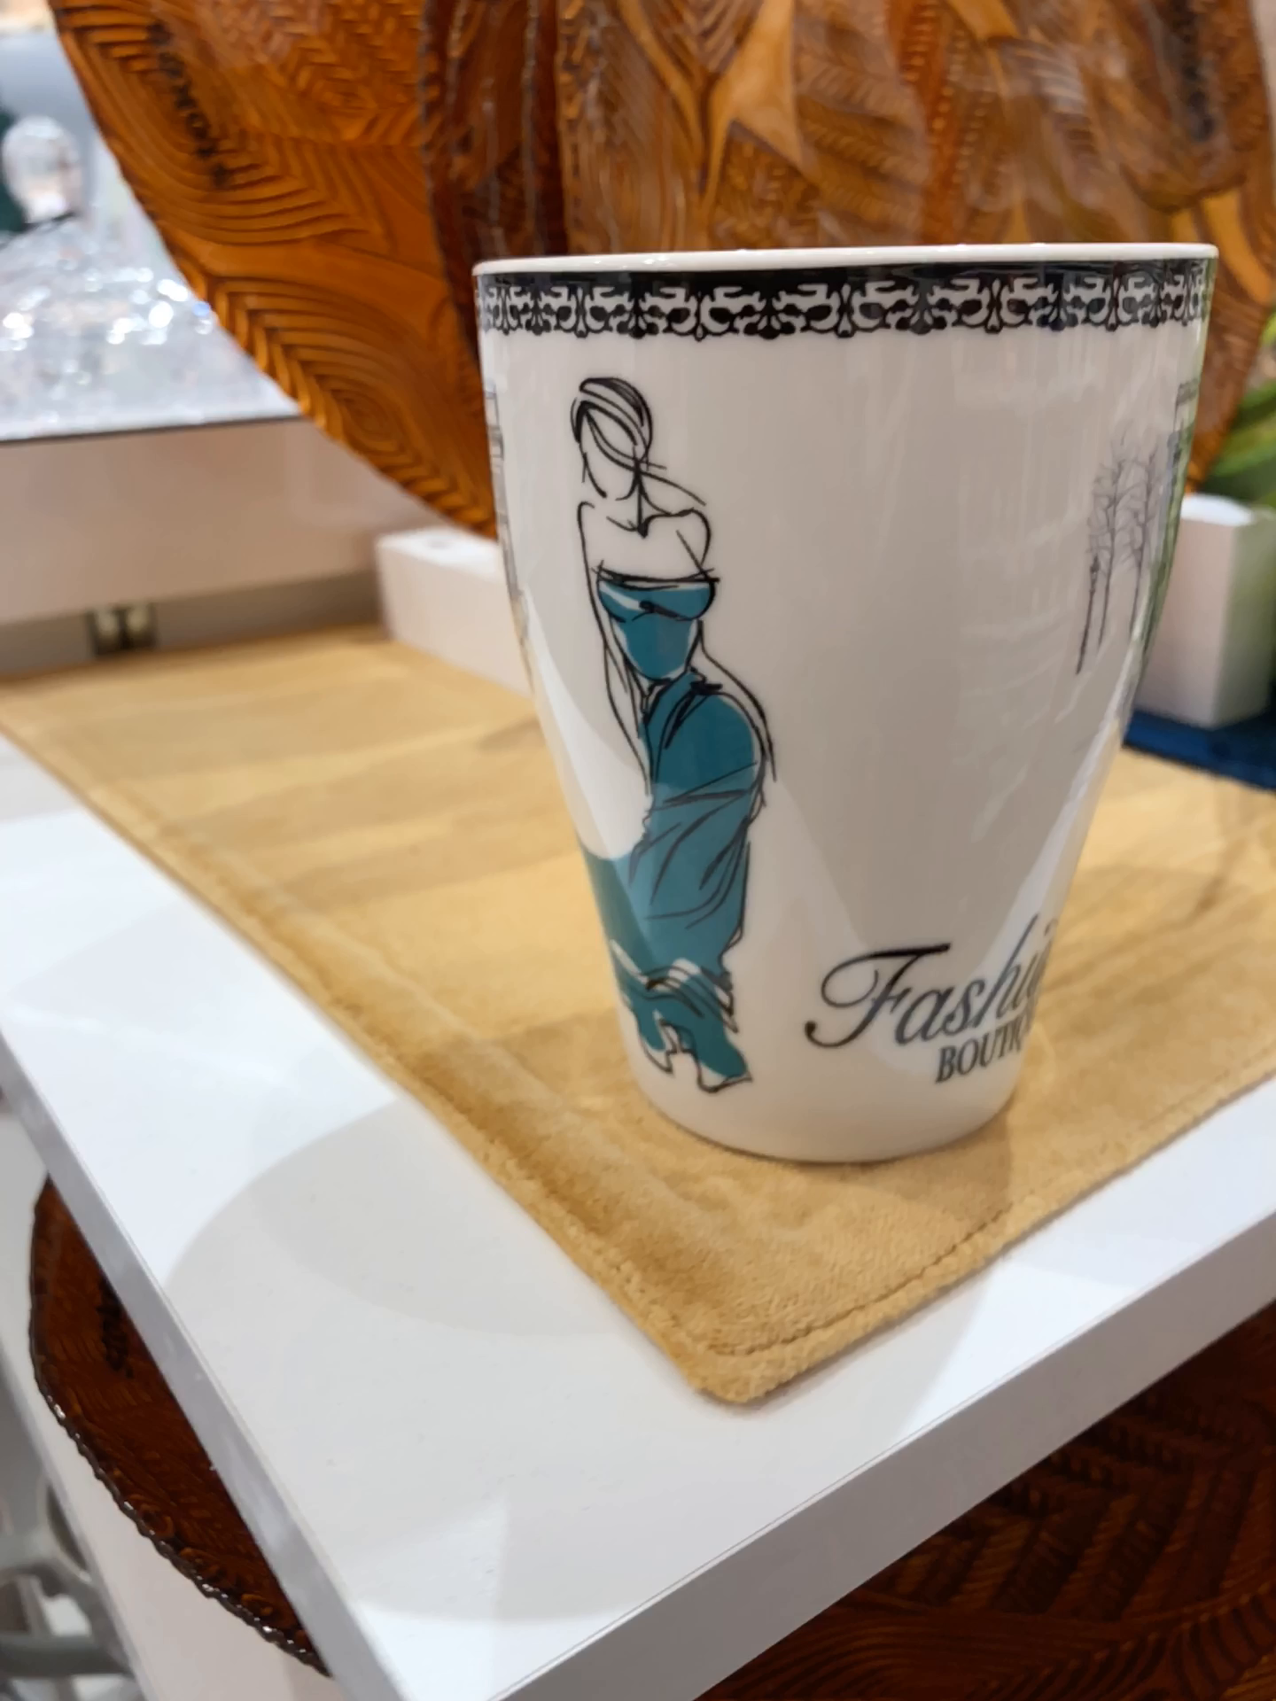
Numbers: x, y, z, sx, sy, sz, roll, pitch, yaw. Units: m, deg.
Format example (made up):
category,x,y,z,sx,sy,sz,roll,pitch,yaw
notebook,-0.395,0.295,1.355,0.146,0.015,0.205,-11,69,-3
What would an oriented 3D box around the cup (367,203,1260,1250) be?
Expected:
category,x,y,z,sx,sy,sz,roll,pitch,yaw
cup,0.031,-0.028,0.194,0.080,0.100,0.110,5,22,18
